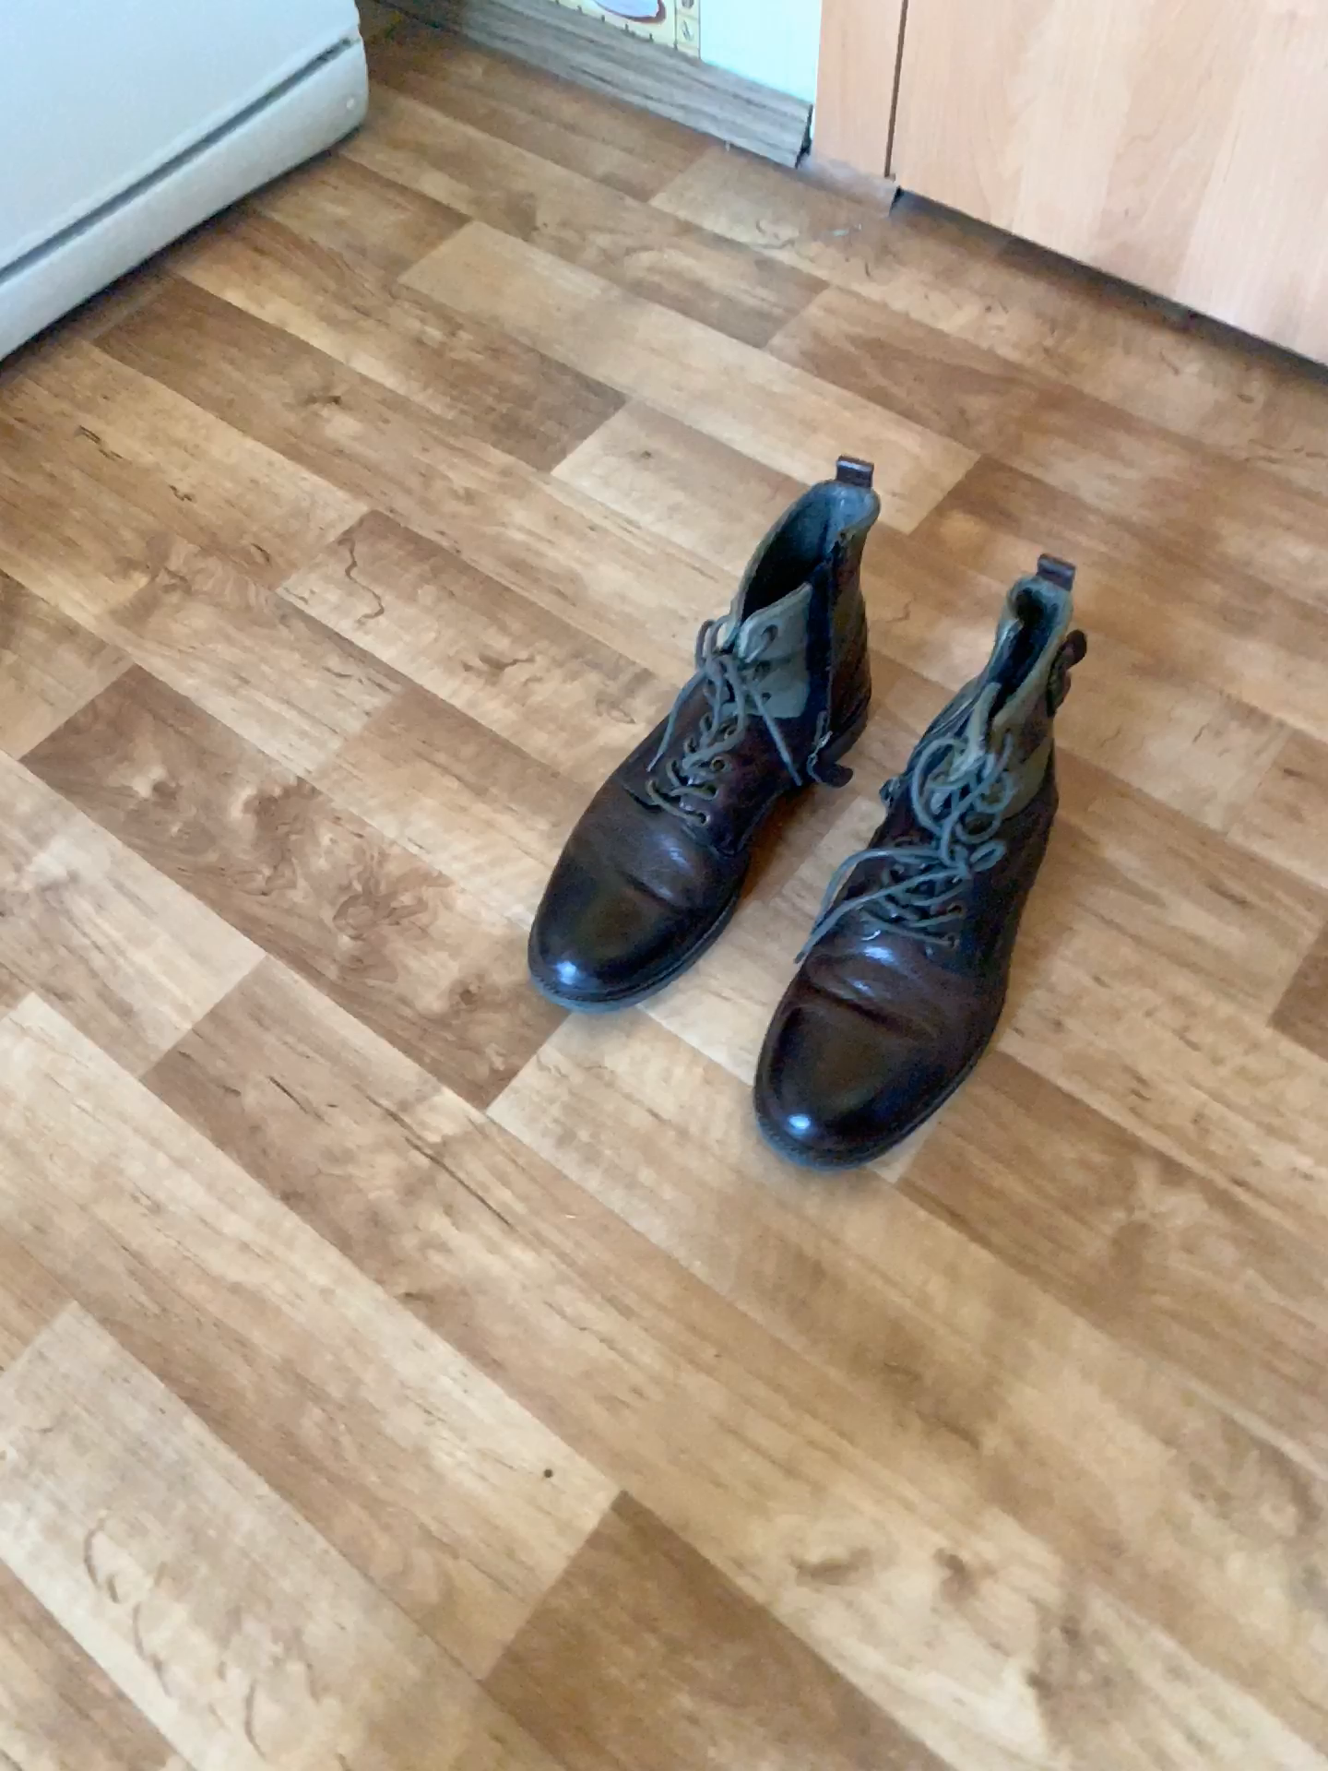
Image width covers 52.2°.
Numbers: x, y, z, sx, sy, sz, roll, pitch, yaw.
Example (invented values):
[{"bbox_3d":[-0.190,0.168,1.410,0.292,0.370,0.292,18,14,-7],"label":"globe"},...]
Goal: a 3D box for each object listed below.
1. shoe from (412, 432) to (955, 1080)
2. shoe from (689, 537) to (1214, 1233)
[{"bbox_3d":[0.021,-0.073,0.727,0.110,0.150,0.310,30,65,18],"label":"shoe"},{"bbox_3d":[0.144,-0.004,0.687,0.110,0.150,0.310,28,64,18],"label":"shoe"}]
